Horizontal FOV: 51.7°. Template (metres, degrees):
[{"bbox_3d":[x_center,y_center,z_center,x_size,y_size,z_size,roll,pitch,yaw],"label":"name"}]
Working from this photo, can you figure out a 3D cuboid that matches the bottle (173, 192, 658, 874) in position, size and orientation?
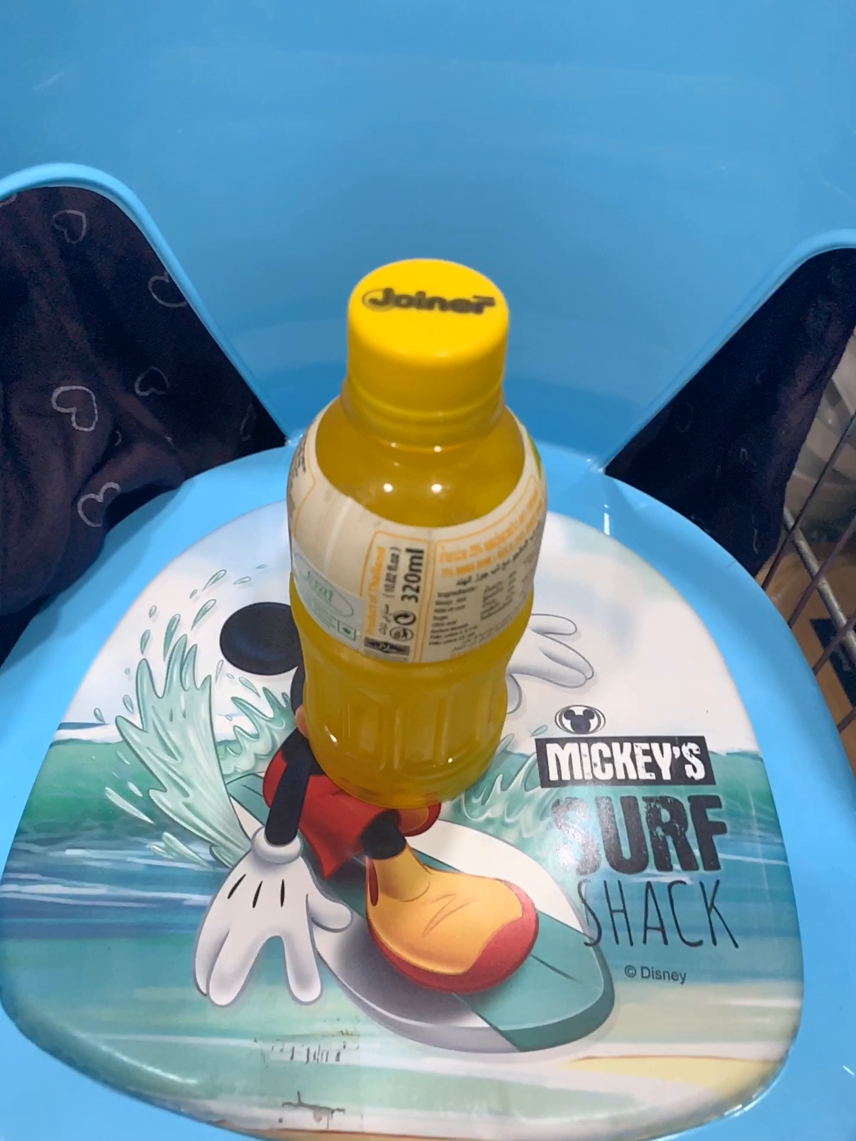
[{"bbox_3d":[-0.003,0.000,0.205,0.060,0.140,0.060,1,48,-1],"label":"bottle"}]
